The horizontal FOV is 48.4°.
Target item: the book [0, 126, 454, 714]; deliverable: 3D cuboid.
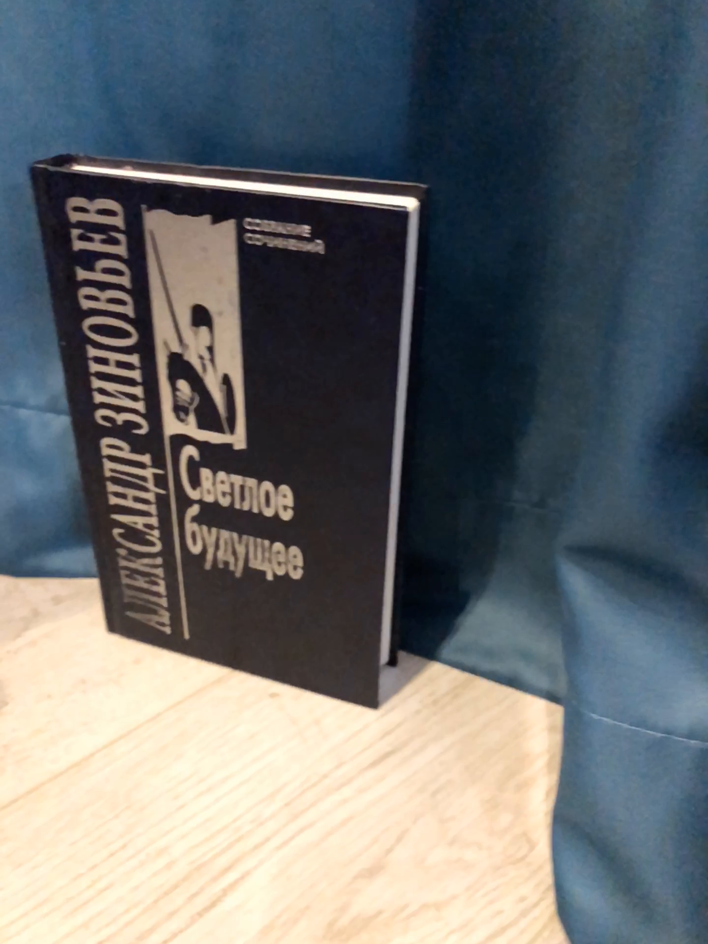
[{"bbox_3d":[-0.050,-0.015,0.298,0.150,0.199,0.040,12,31,15],"label":"book"}]
